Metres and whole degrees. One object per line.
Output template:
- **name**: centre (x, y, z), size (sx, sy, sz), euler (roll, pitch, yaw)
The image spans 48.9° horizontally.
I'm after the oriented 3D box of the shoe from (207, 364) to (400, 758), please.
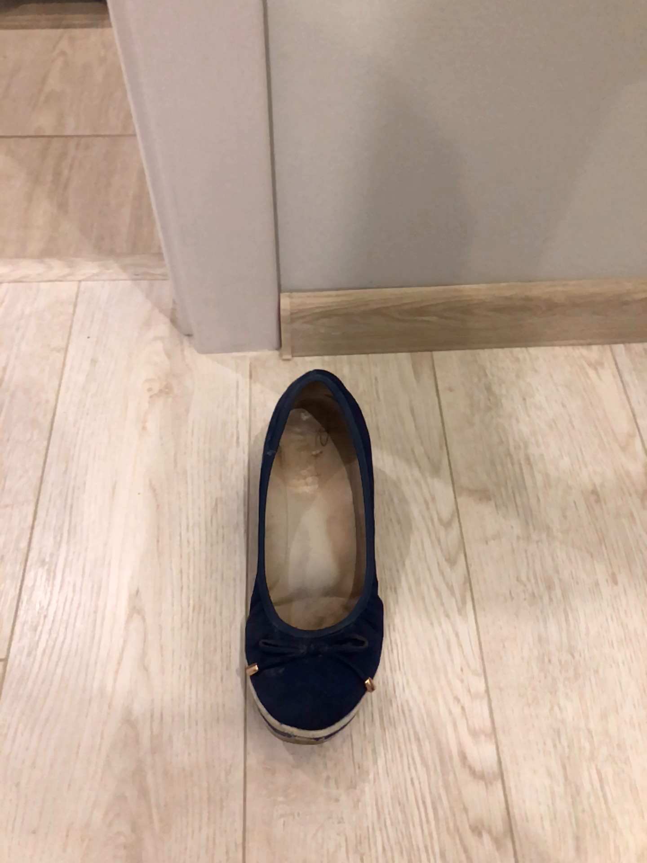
- **shoe**: centre (-0.009, 0.081, 0.470), size (0.098, 0.109, 0.231), euler (1, 57, 0)
